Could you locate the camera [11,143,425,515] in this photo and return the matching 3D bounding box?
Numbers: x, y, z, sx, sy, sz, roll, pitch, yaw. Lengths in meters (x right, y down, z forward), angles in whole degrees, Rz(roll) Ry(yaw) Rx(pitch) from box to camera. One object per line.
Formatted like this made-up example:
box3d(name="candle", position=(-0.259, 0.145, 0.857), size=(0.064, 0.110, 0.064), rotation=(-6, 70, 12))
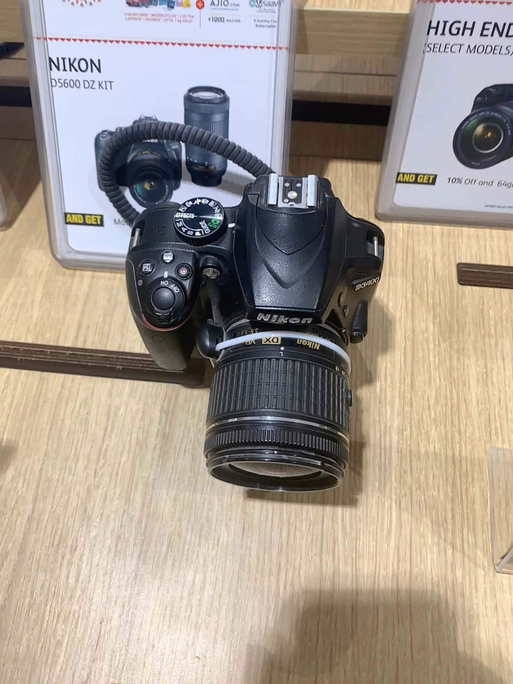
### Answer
box3d(name="camera", position=(-0.007, -0.001, 0.225), size=(0.120, 0.100, 0.120), rotation=(2, 62, 3))
